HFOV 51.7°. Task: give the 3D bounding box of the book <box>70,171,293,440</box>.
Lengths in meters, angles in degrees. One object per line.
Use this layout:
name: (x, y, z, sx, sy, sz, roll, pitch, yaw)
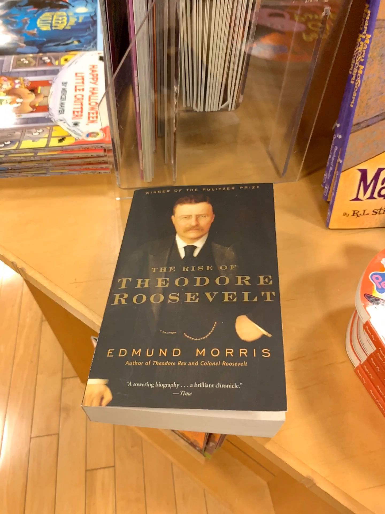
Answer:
book: (0.001, 0.027, 0.316, 0.130, 0.066, 0.195, 5, 53, 2)
